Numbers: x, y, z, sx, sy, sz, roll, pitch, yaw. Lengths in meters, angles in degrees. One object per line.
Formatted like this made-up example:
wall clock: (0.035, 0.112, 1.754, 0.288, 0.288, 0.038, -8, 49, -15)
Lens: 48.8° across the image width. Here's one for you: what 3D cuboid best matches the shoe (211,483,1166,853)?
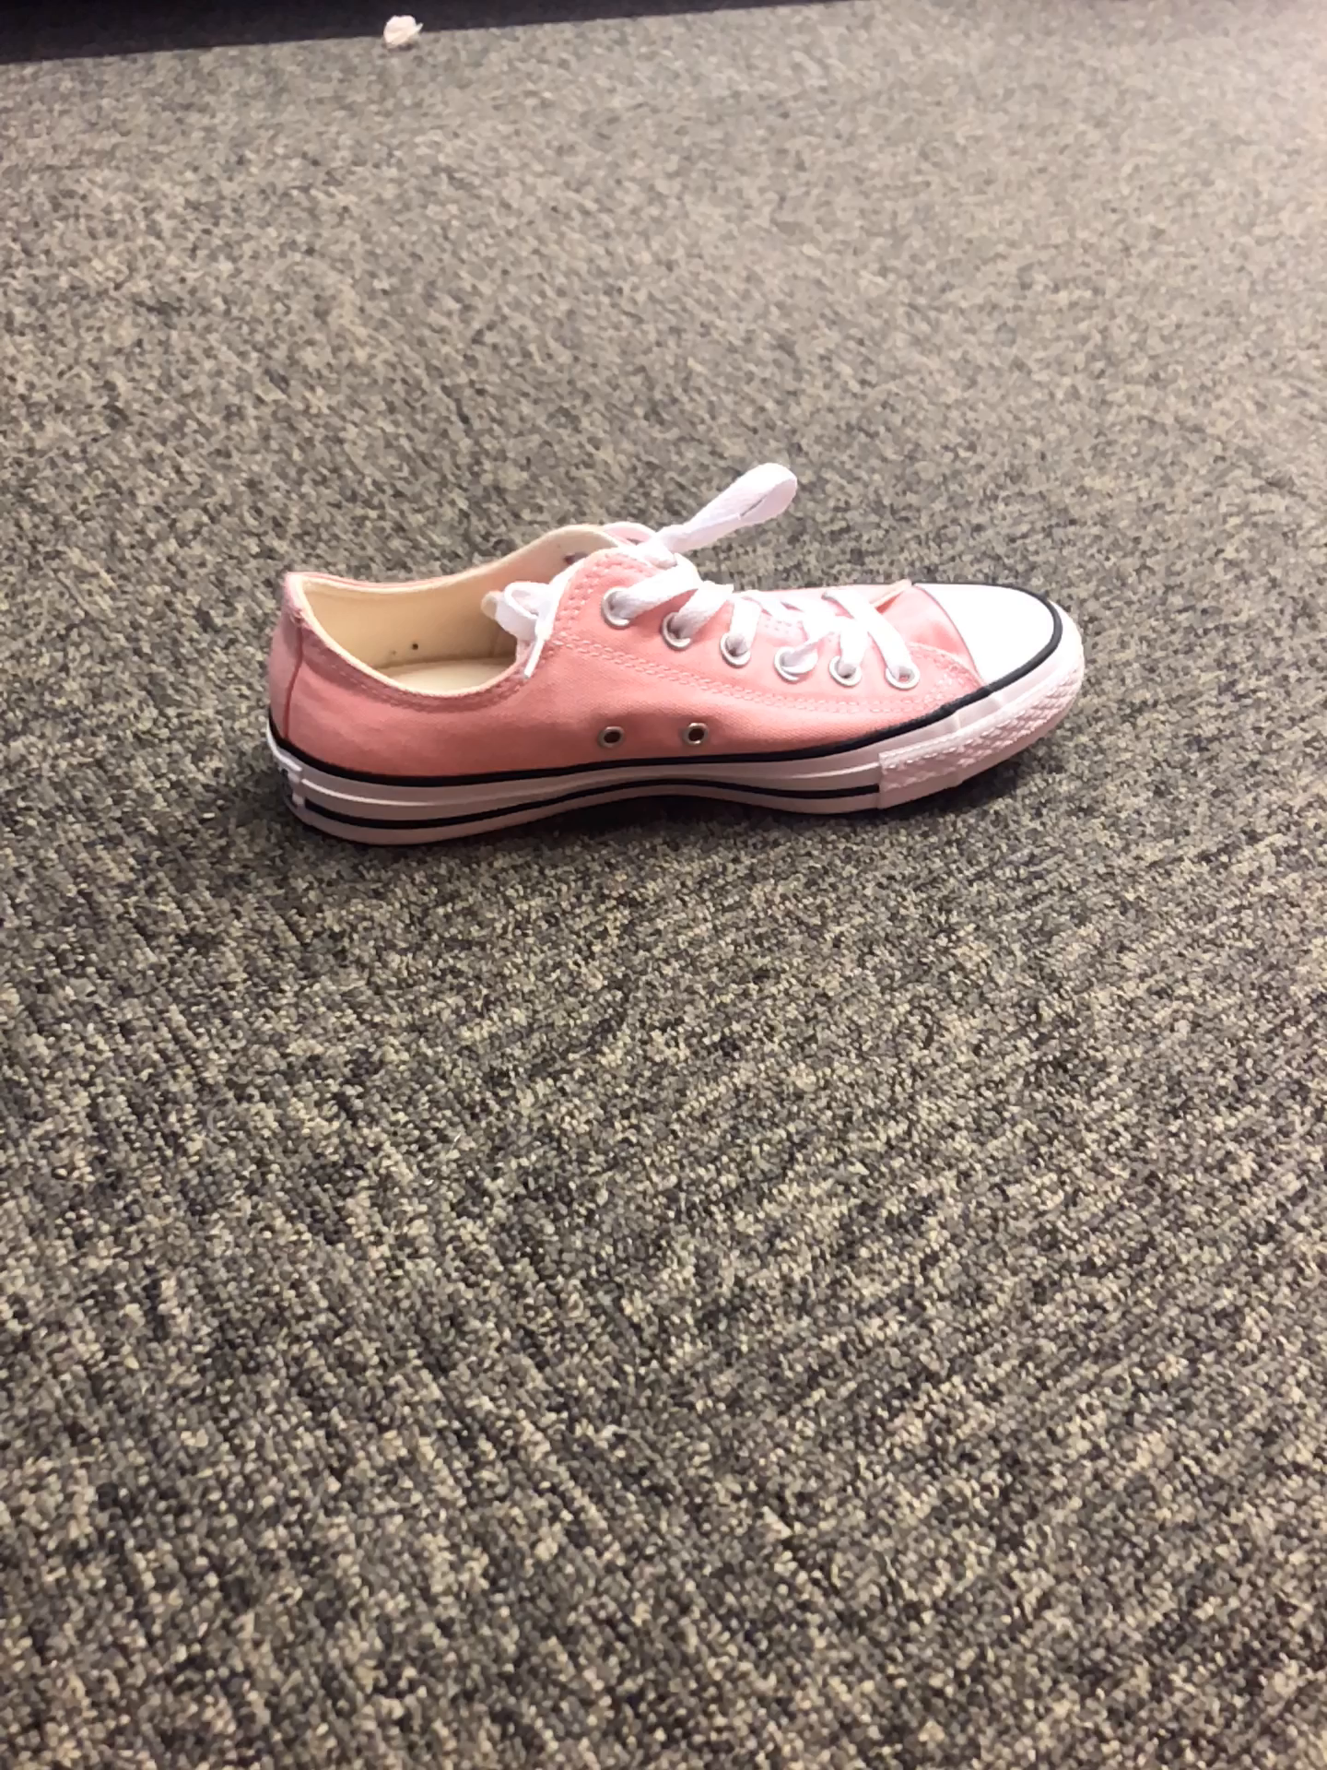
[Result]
shoe: (0.007, -0.076, 0.468, 0.281, 0.060, 0.100, -5, 44, -19)
